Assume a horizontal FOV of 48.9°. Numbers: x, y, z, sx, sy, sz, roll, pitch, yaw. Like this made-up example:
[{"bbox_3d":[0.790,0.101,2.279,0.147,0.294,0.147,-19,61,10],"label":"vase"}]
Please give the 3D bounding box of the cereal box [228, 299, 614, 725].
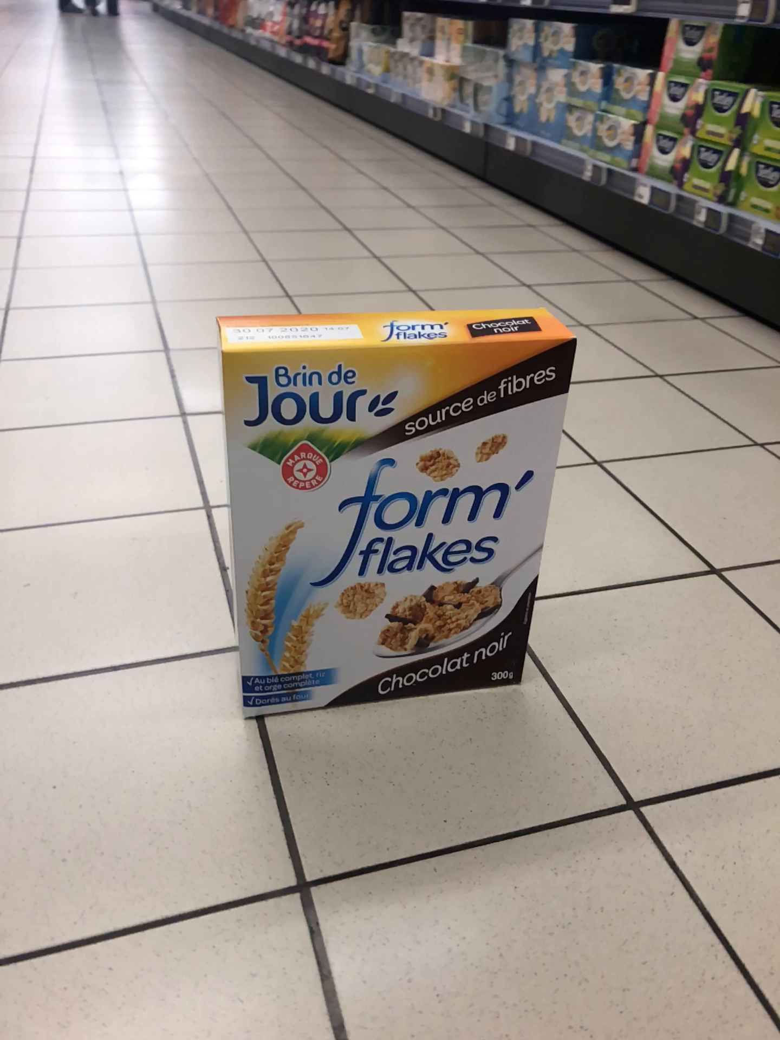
[{"bbox_3d":[0.009,-0.002,0.531,0.200,0.248,0.070,-4,31,-12],"label":"cereal box"}]
